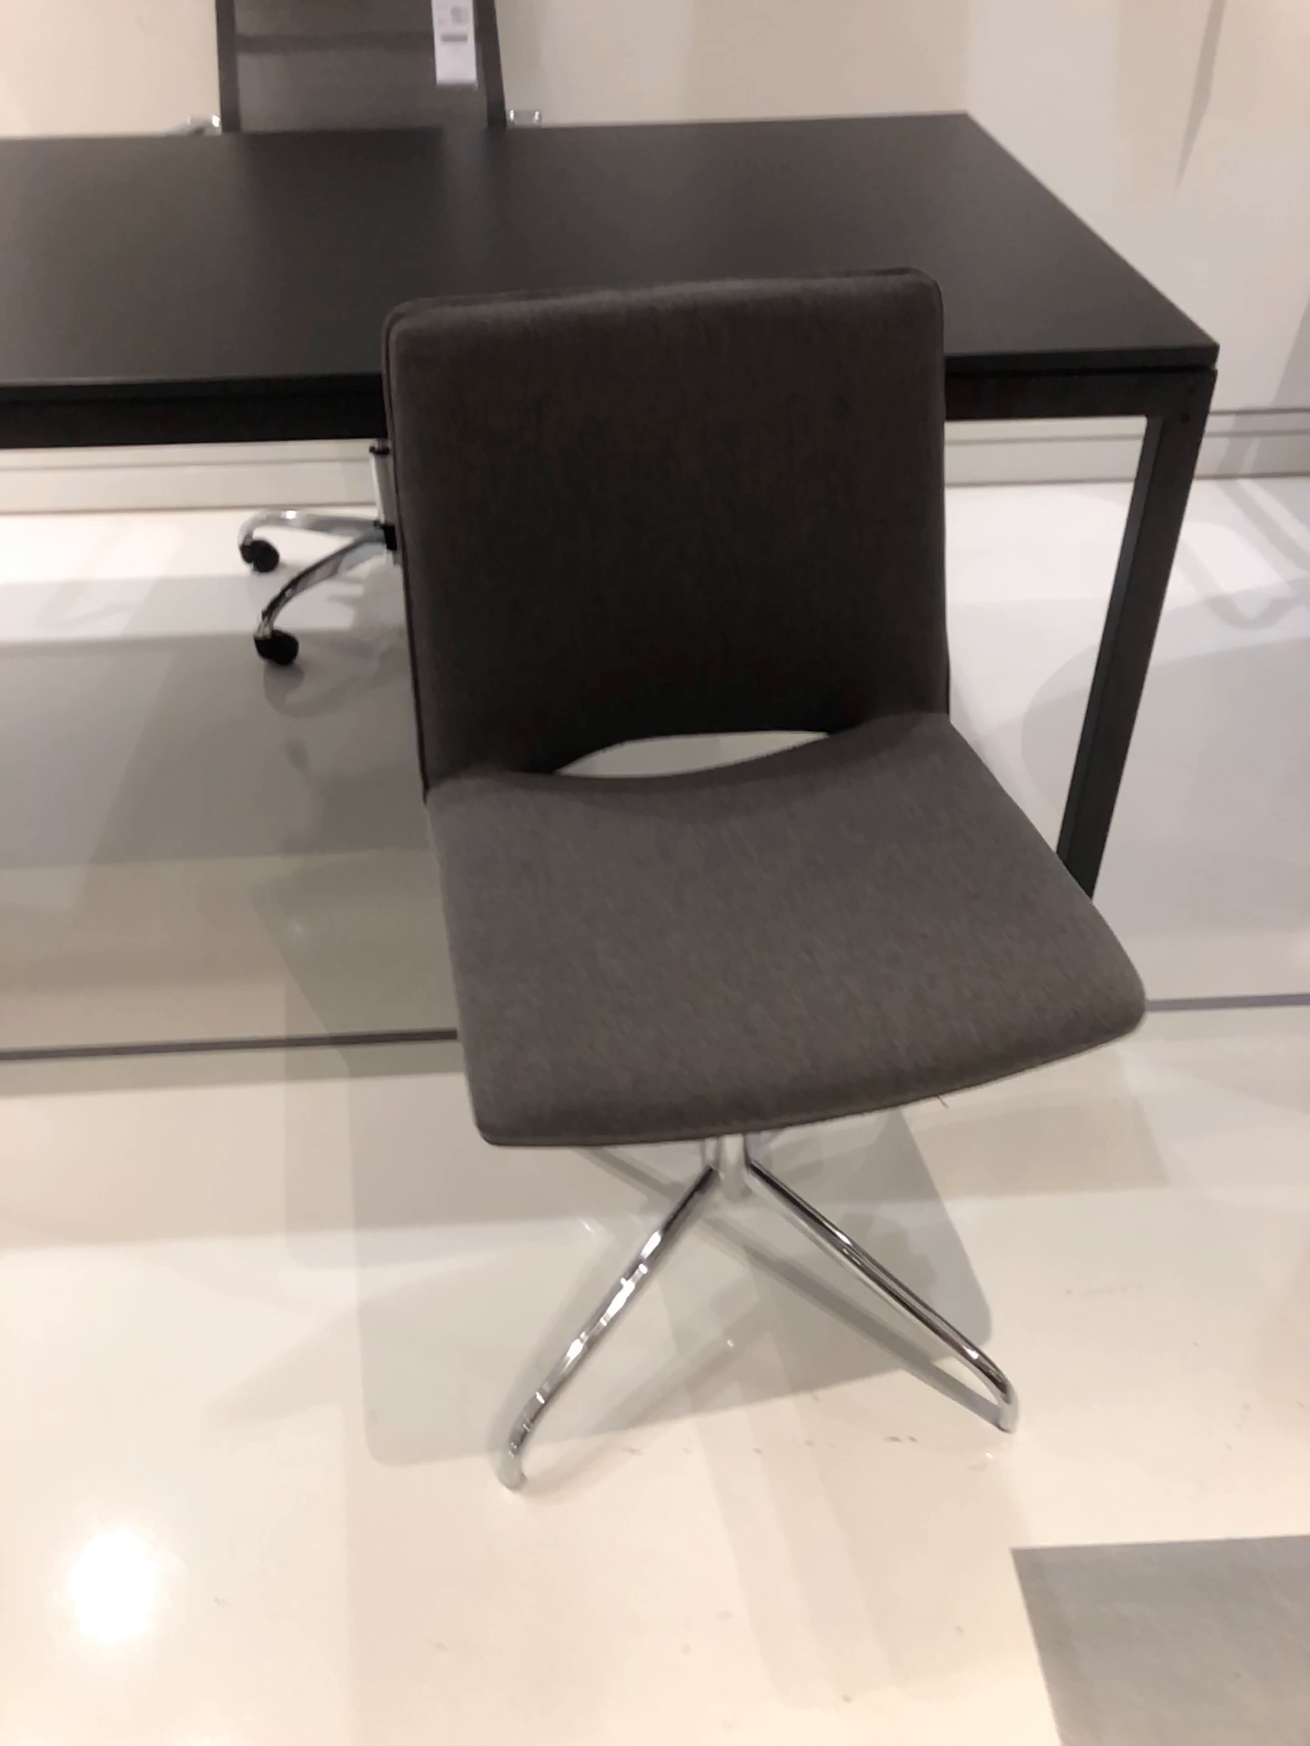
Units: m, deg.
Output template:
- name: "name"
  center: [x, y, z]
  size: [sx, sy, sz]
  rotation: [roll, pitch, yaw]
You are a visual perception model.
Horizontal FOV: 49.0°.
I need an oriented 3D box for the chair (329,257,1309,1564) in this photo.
- name: "chair"
  center: [0.069, 0.036, 1.161]
  size: [0.520, 0.843, 0.534]
  rotation: [-7, 38, -9]
